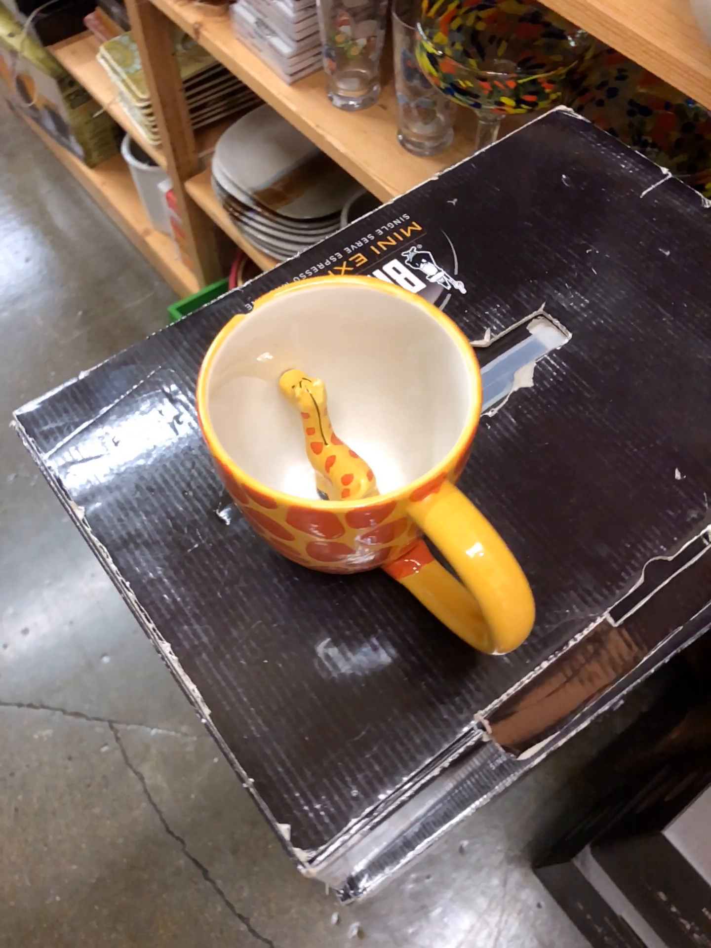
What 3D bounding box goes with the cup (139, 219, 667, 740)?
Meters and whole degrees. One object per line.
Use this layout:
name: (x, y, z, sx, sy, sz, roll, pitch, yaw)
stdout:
cup: (0.011, -0.001, 0.272, 0.102, 0.067, 0.134, -33, 67, -15)
